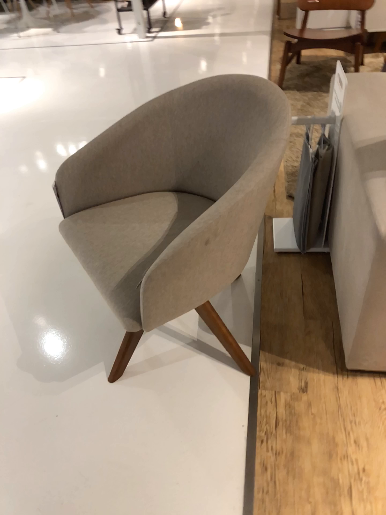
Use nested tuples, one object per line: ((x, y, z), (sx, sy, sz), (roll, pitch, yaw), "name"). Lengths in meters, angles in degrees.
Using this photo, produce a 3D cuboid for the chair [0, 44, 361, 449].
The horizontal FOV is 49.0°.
((-0.070, -0.077, 1.309), (0.711, 0.794, 0.694), (-26, 45, -20), "chair")
